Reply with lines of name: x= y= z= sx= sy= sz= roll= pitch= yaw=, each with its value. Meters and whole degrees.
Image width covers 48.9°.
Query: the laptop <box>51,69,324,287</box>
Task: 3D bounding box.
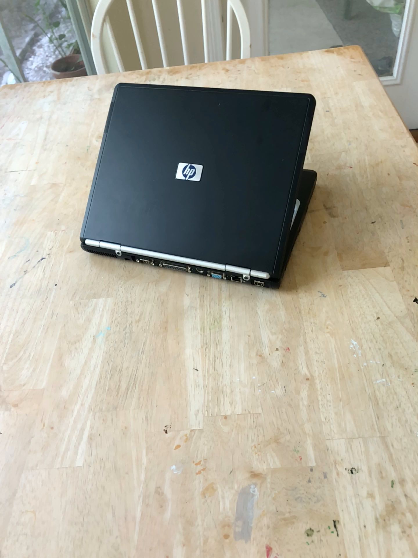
laptop: x=-0.012 y=-0.167 z=0.693 sx=0.306 sy=0.162 sz=0.256 roll=11 pitch=51 yaw=18
